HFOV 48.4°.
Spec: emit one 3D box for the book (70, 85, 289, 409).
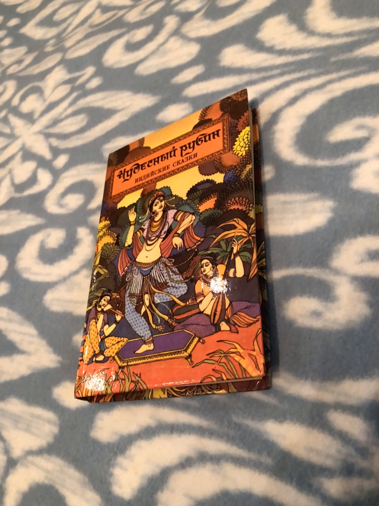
[{"bbox_3d":[-0.011,-0.006,0.300,0.140,0.027,0.211,-16,57,29],"label":"book"}]
